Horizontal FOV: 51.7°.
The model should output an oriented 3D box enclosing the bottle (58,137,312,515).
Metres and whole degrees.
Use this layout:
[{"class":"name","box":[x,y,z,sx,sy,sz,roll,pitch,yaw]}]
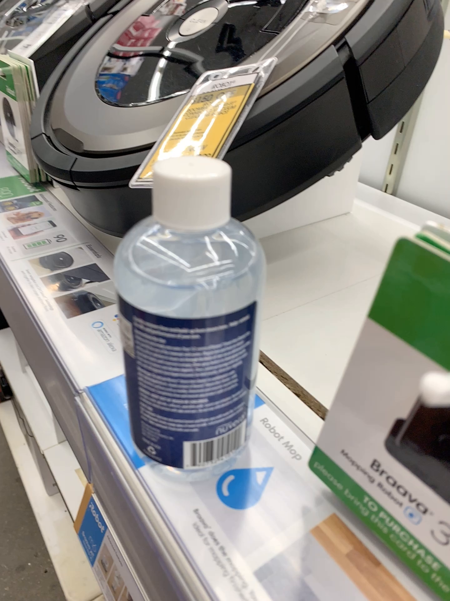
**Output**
[{"class":"bottle","box":[-0.014,0.011,0.190,0.060,0.129,0.060,2,34,-1]}]
